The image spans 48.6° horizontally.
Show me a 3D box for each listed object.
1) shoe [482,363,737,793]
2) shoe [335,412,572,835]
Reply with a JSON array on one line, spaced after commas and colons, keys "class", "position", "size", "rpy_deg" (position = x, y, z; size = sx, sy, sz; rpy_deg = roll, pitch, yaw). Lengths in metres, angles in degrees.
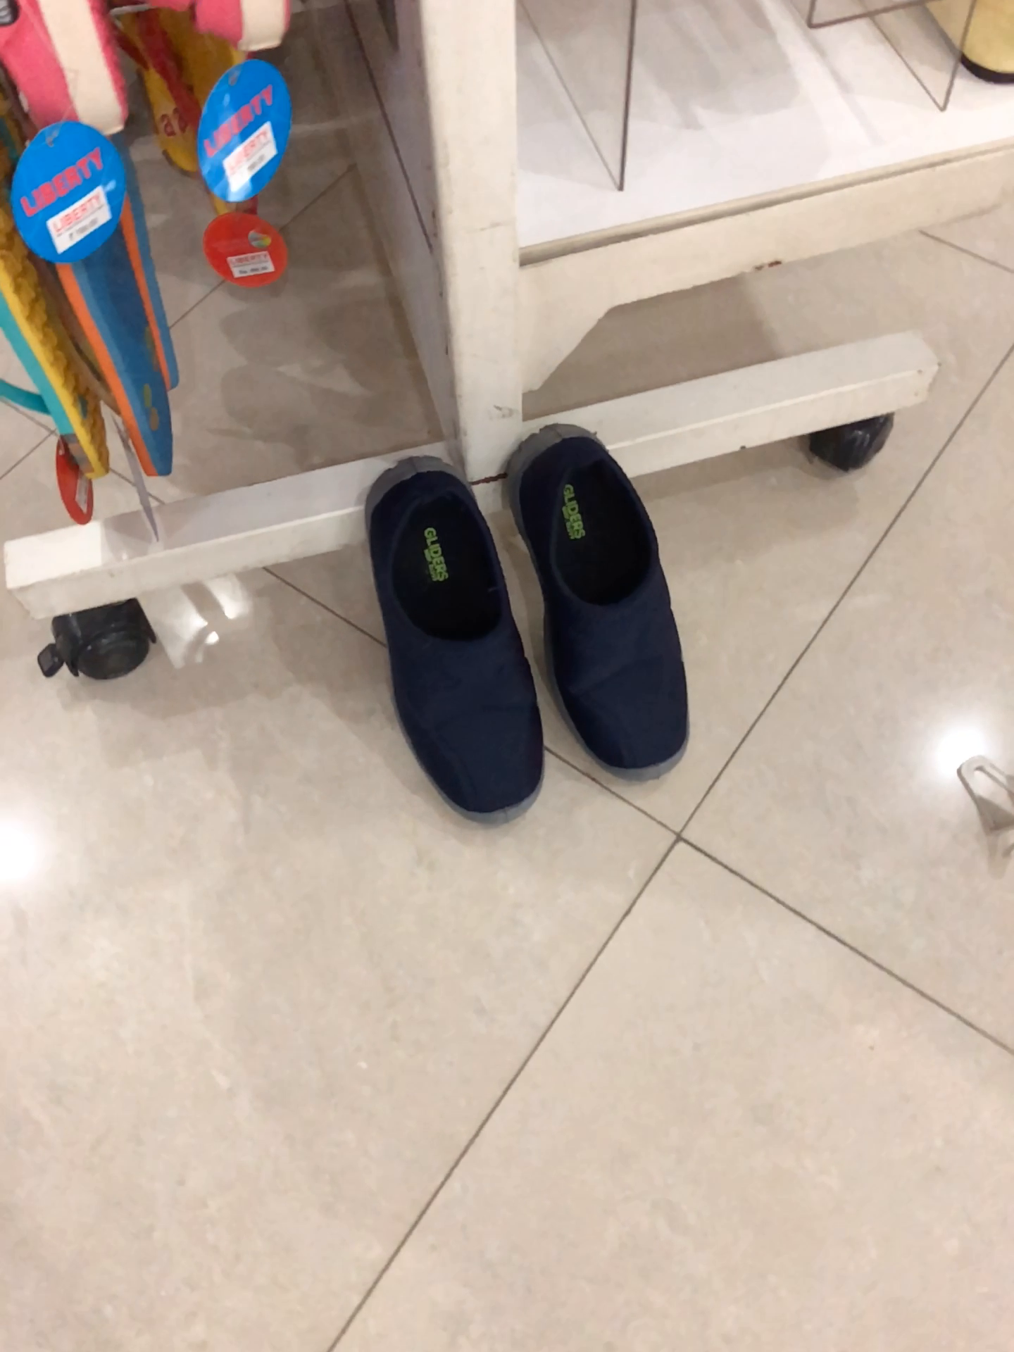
[{"class": "shoe", "position": [0.068, -0.072, 0.829], "size": [0.110, 0.084, 0.288], "rpy_deg": [-13, 77, -5]}, {"class": "shoe", "position": [-0.041, -0.038, 0.826], "size": [0.107, 0.064, 0.288], "rpy_deg": [-13, 80, -5]}]
